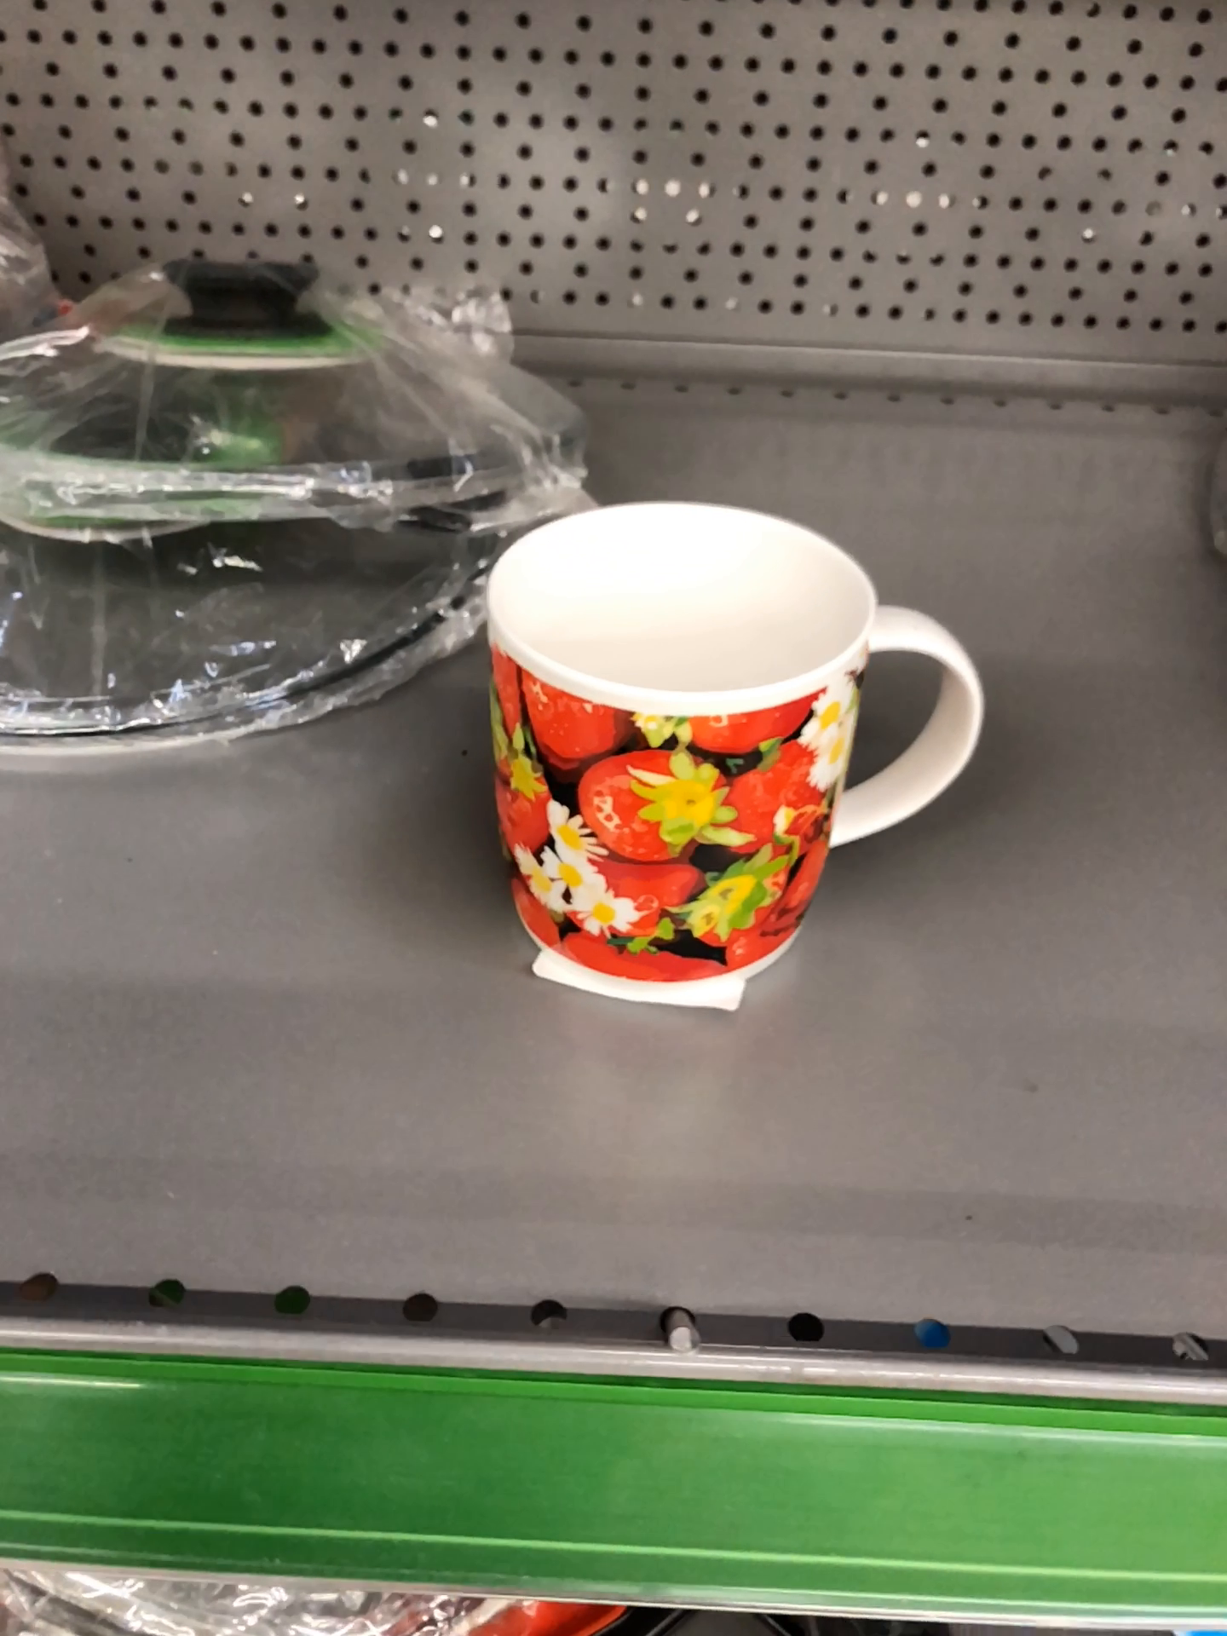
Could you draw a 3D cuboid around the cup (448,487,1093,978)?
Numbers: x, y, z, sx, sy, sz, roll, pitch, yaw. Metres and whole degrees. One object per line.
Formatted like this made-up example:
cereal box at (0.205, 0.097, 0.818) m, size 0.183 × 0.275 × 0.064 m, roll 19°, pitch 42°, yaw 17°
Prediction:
cup at (0.028, -0.023, 0.328) m, size 0.128 × 0.078 × 0.091 m, roll -1°, pitch 39°, yaw -4°
